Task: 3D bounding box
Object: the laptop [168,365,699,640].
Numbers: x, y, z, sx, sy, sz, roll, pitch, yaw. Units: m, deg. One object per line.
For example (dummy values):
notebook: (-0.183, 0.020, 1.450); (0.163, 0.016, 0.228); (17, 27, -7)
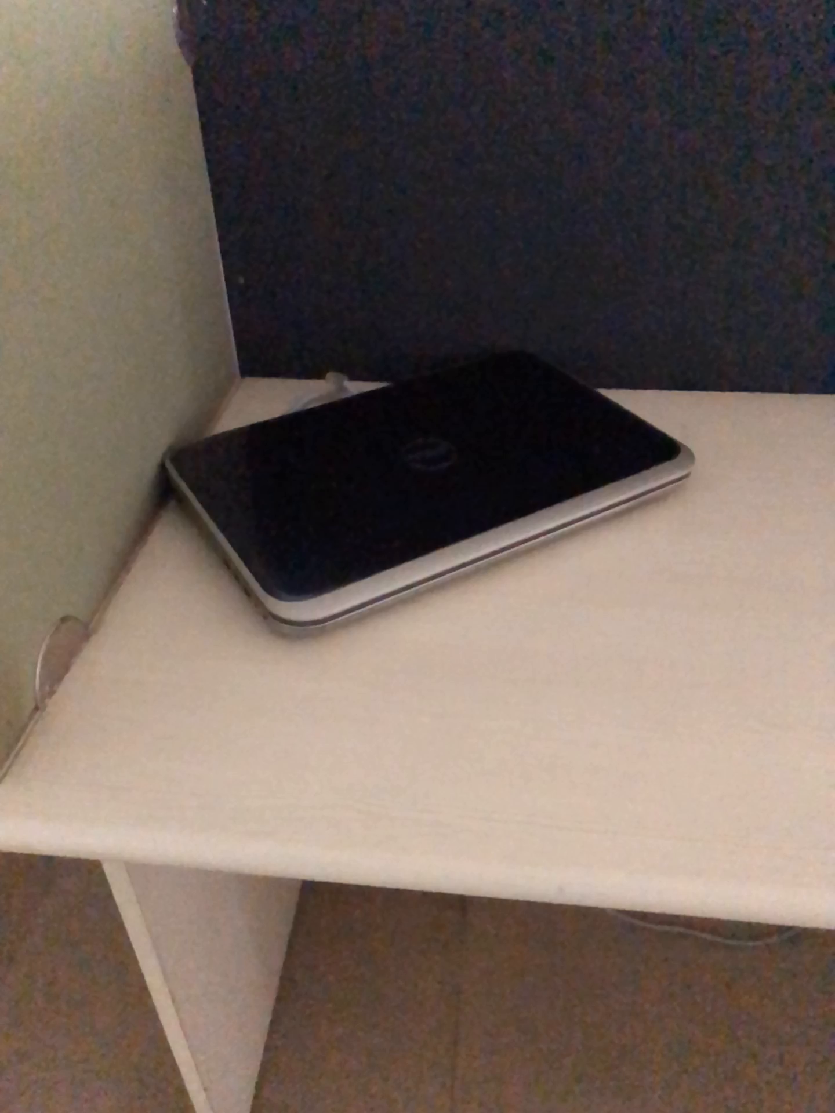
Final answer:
laptop: (0.007, -0.069, 0.789); (0.372, 0.010, 0.246); (-21, 41, -21)
